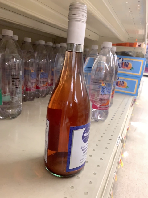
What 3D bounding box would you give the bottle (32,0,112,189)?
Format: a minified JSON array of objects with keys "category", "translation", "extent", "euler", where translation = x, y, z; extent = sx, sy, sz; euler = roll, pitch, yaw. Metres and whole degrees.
[{"category":"bottle","translation":[-0.009,-0.007,0.278],"extent":[0.080,0.299,0.090],"euler":[15,18,27]}]
